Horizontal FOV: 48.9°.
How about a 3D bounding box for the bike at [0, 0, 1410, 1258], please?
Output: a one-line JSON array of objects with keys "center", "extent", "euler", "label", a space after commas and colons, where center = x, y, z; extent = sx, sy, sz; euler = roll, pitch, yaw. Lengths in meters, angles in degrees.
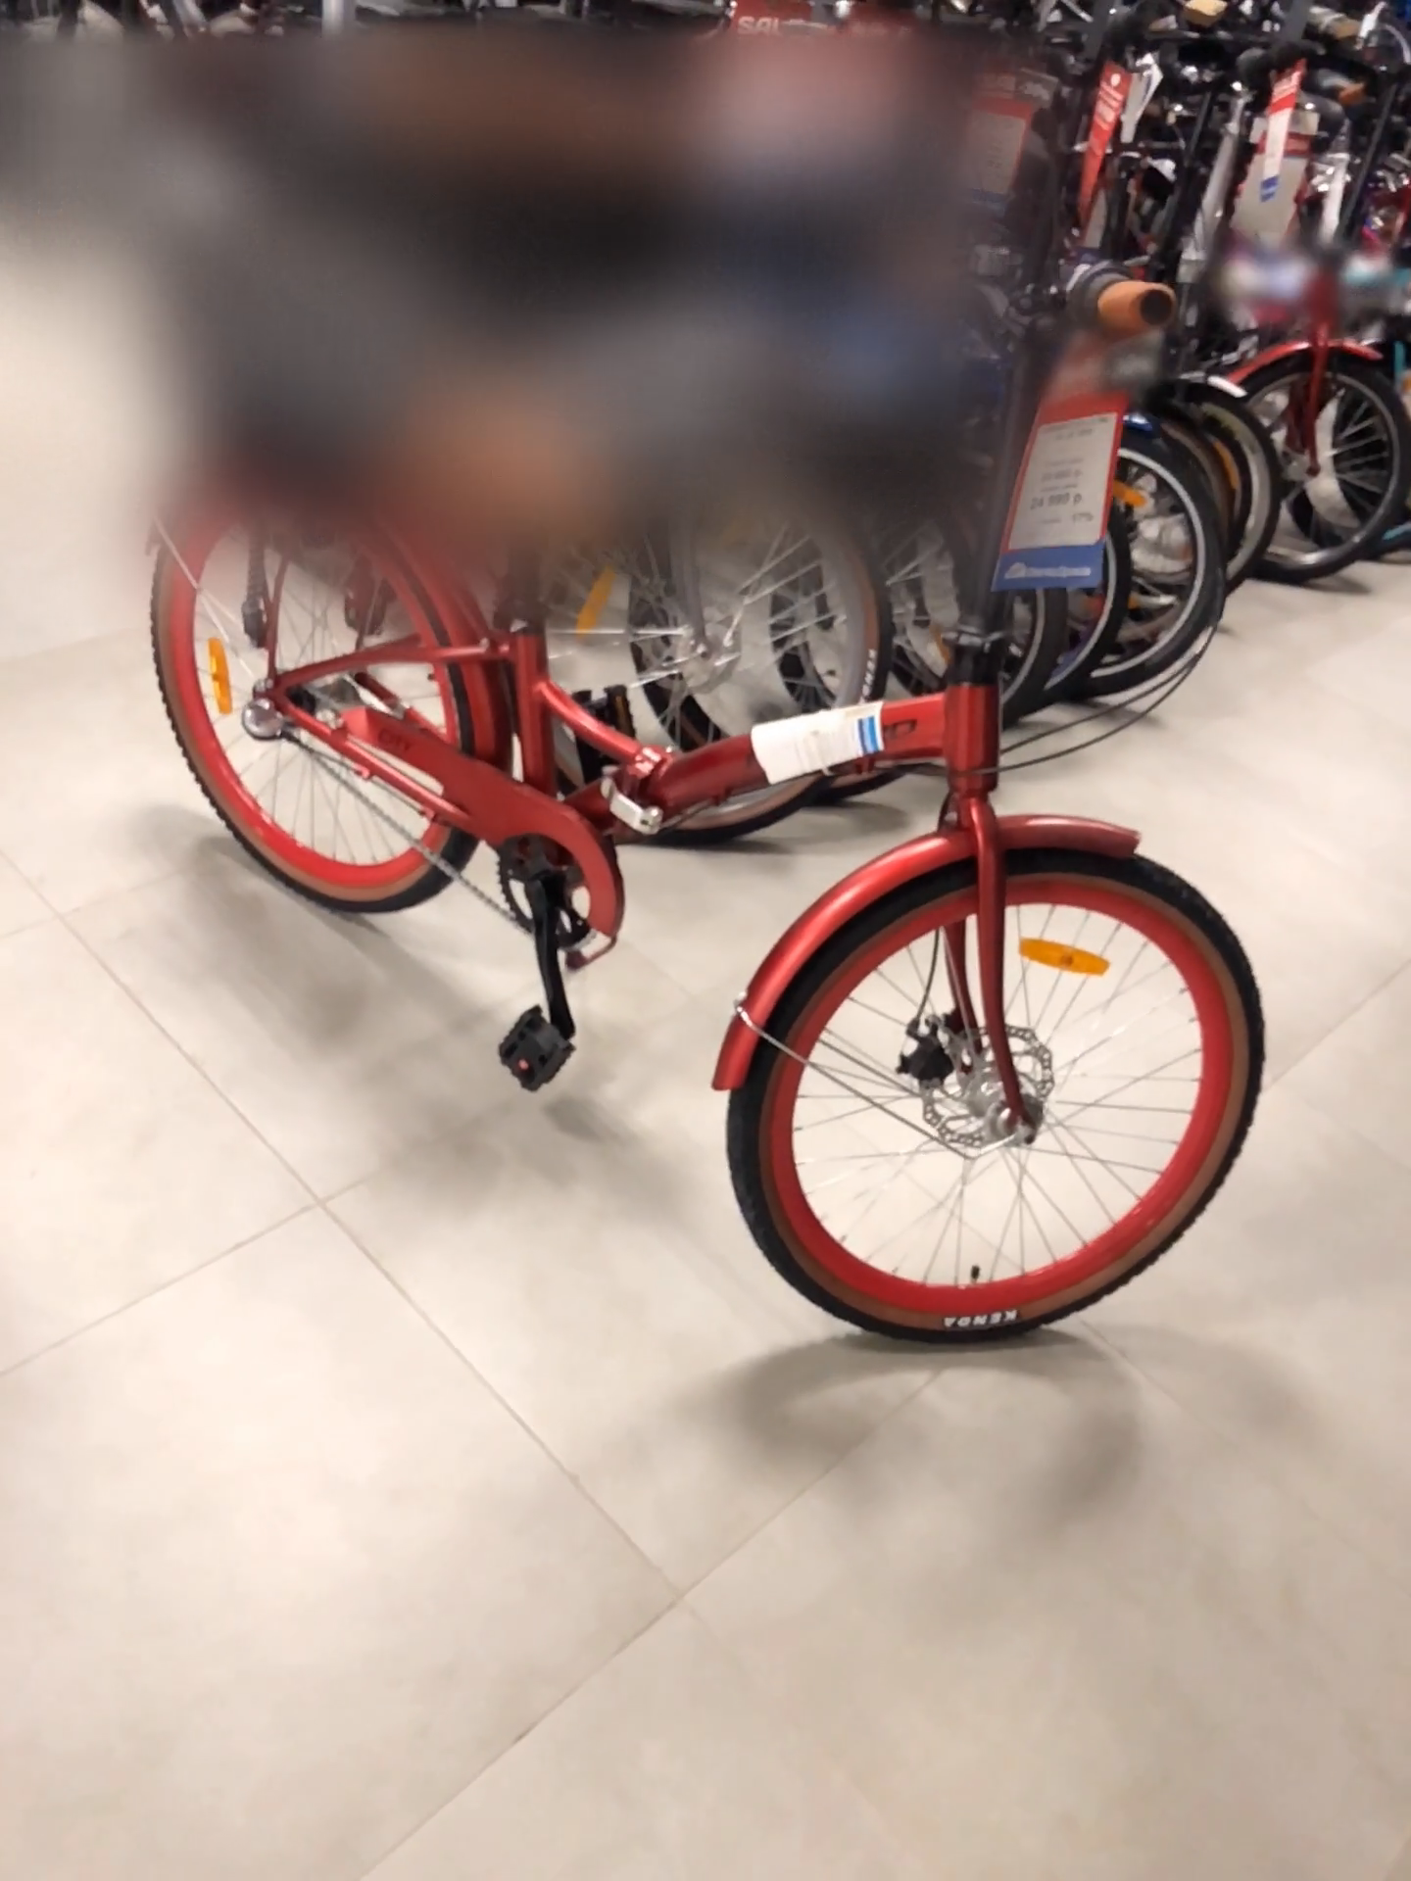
[{"center": [-0.041, -0.439, 1.792], "extent": [1.493, 1.111, 0.519], "euler": [22, 38, 17], "label": "bike"}]
